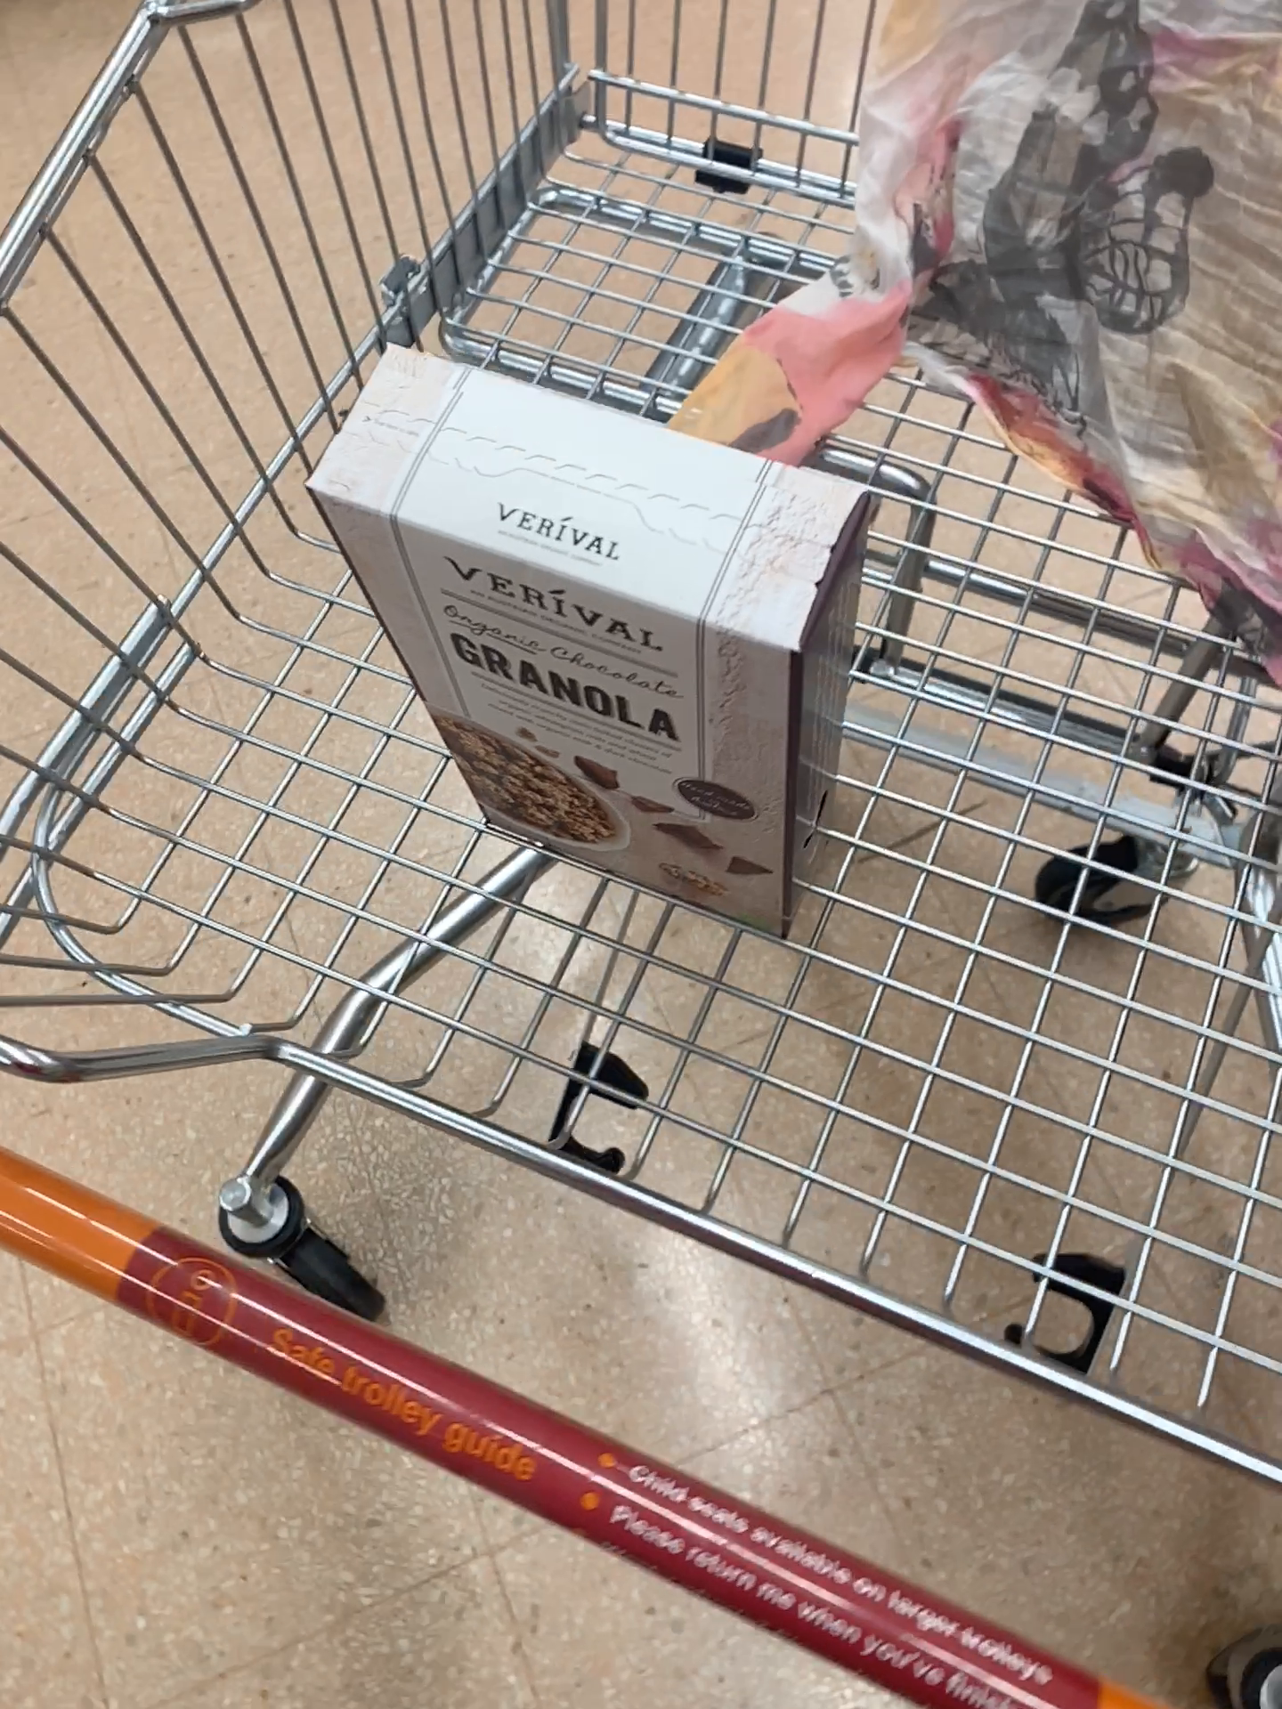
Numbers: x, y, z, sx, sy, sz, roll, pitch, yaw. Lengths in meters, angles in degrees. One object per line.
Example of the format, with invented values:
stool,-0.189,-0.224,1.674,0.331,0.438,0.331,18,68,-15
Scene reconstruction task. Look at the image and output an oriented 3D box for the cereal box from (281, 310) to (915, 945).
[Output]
cereal box,-0.005,-0.051,0.408,0.140,0.219,0.050,22,73,11
